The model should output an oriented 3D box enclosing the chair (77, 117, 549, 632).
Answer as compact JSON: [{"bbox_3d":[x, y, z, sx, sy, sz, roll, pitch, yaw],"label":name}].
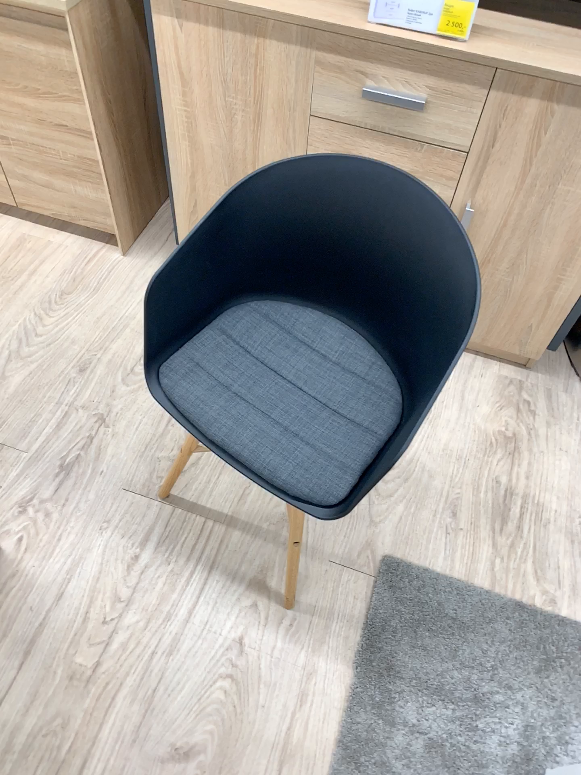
[{"bbox_3d":[0.034,0.014,1.230,0.511,0.787,0.551,33,58,19],"label":"chair"}]
